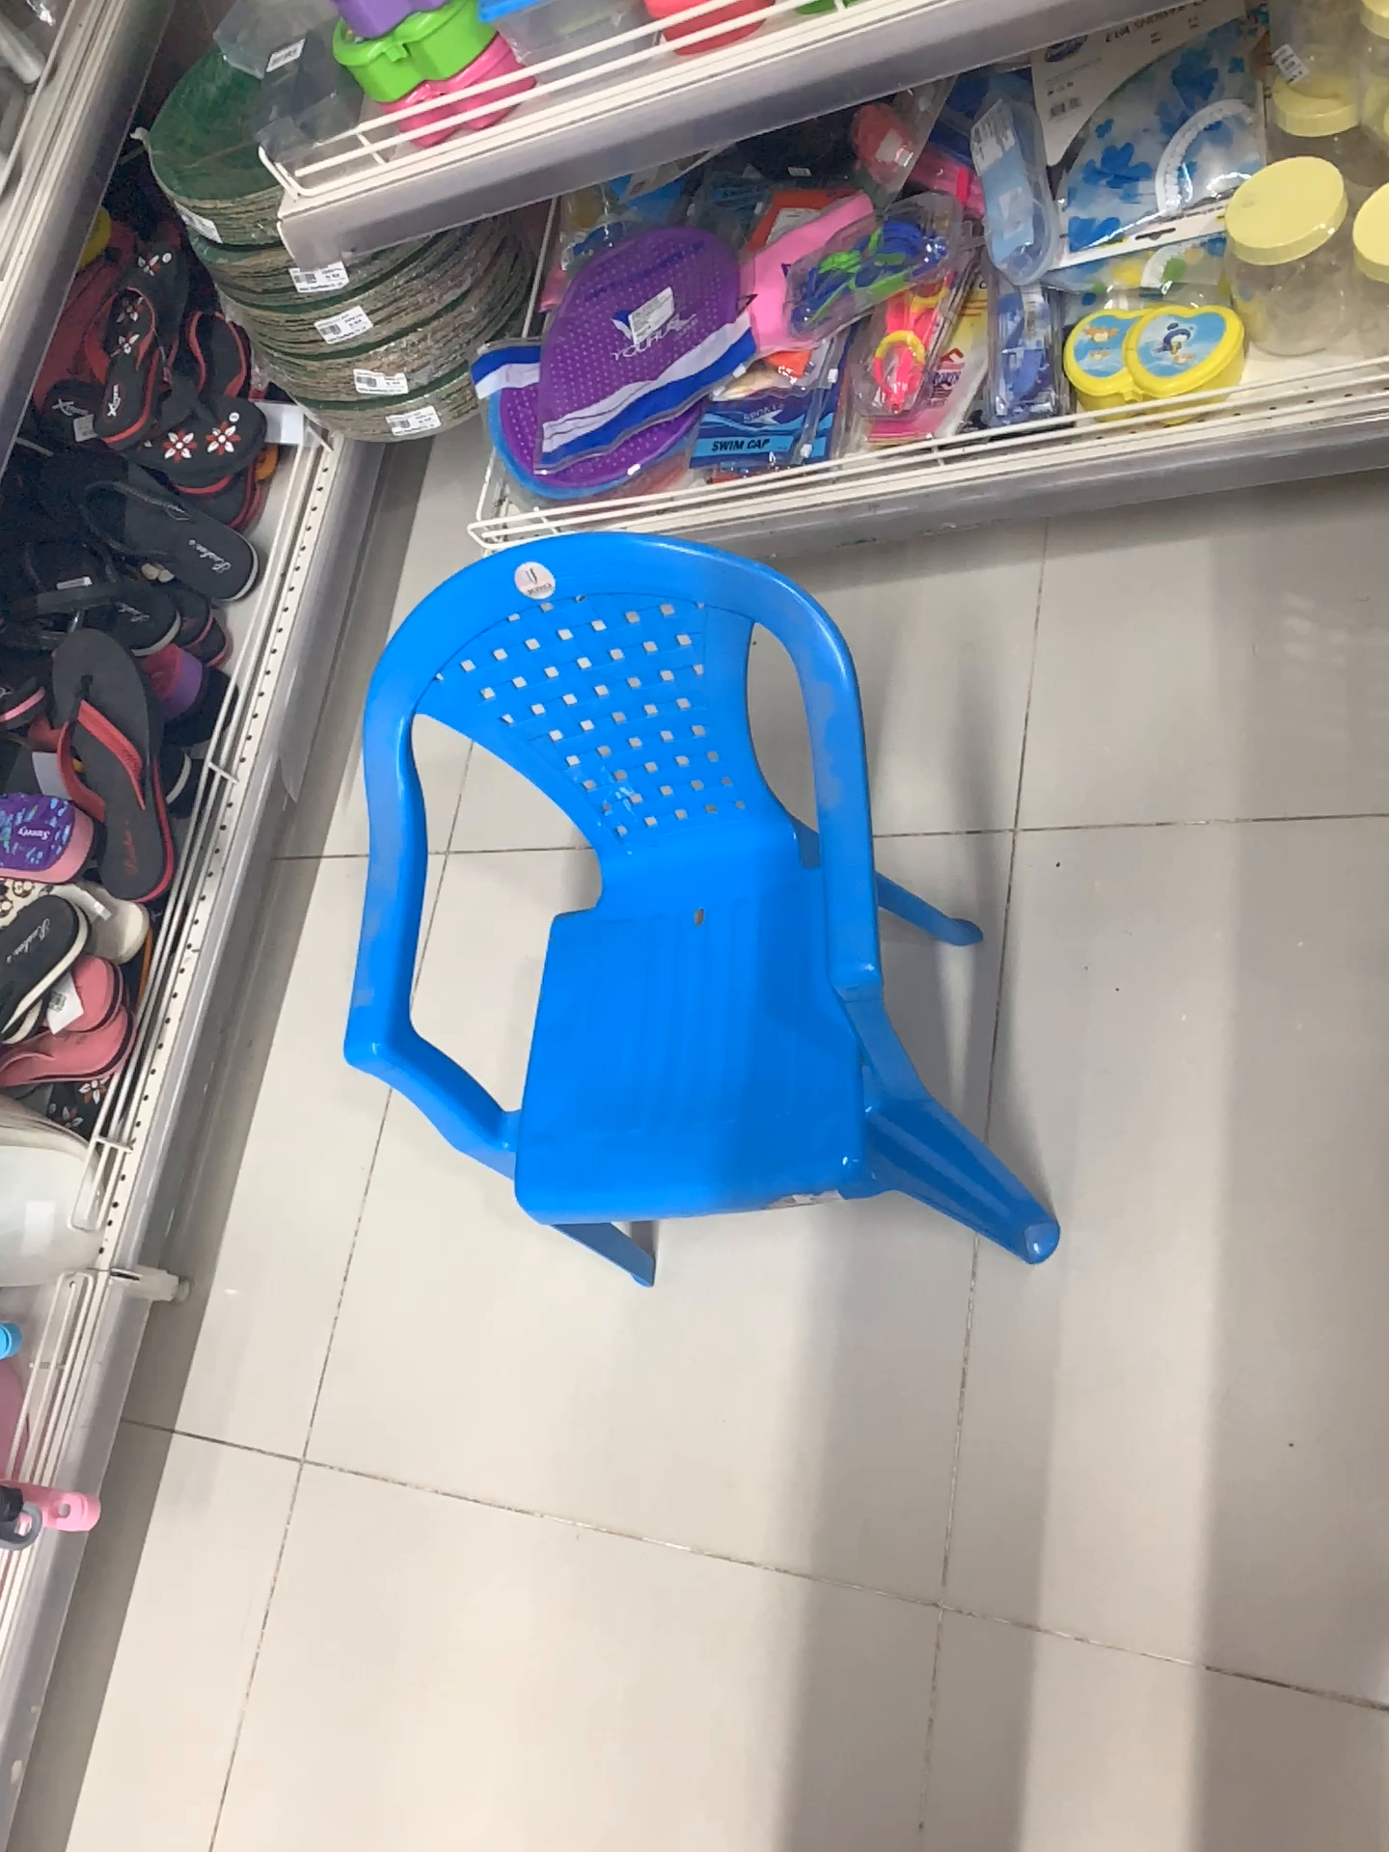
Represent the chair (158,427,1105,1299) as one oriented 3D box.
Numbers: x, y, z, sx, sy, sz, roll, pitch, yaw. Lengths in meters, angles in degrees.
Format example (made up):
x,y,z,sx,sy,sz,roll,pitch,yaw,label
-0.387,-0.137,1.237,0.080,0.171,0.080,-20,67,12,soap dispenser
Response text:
x,y,z,sx,sy,sz,roll,pitch,yaw,label
0.006,0.027,0.959,0.401,0.508,0.360,-9,65,25,chair
